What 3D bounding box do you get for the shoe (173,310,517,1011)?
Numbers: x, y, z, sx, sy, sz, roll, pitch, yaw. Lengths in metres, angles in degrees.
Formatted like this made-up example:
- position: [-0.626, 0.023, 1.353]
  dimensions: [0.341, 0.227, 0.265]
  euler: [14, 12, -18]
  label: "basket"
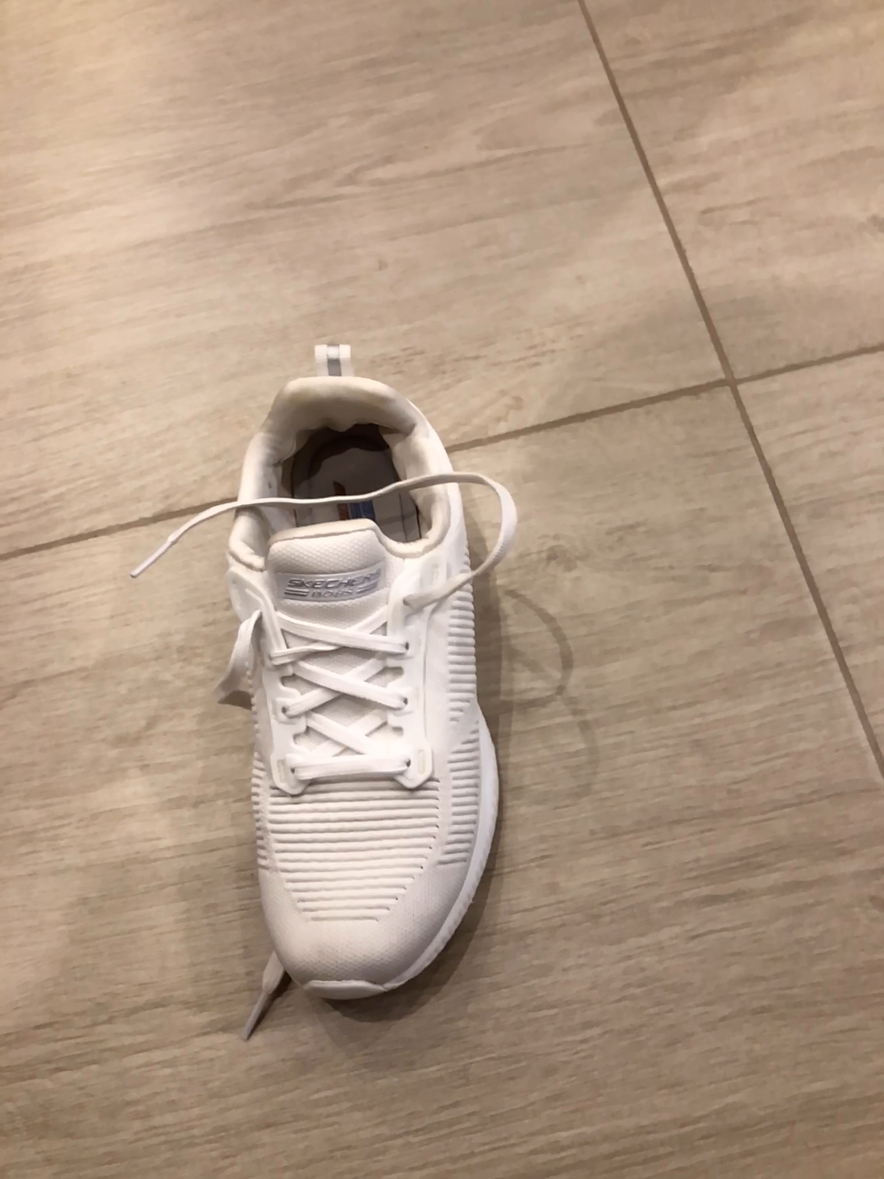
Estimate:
- position: [-0.029, 0.031, 0.371]
  dimensions: [0.090, 0.120, 0.231]
  euler: [-5, 68, 6]
  label: "shoe"
